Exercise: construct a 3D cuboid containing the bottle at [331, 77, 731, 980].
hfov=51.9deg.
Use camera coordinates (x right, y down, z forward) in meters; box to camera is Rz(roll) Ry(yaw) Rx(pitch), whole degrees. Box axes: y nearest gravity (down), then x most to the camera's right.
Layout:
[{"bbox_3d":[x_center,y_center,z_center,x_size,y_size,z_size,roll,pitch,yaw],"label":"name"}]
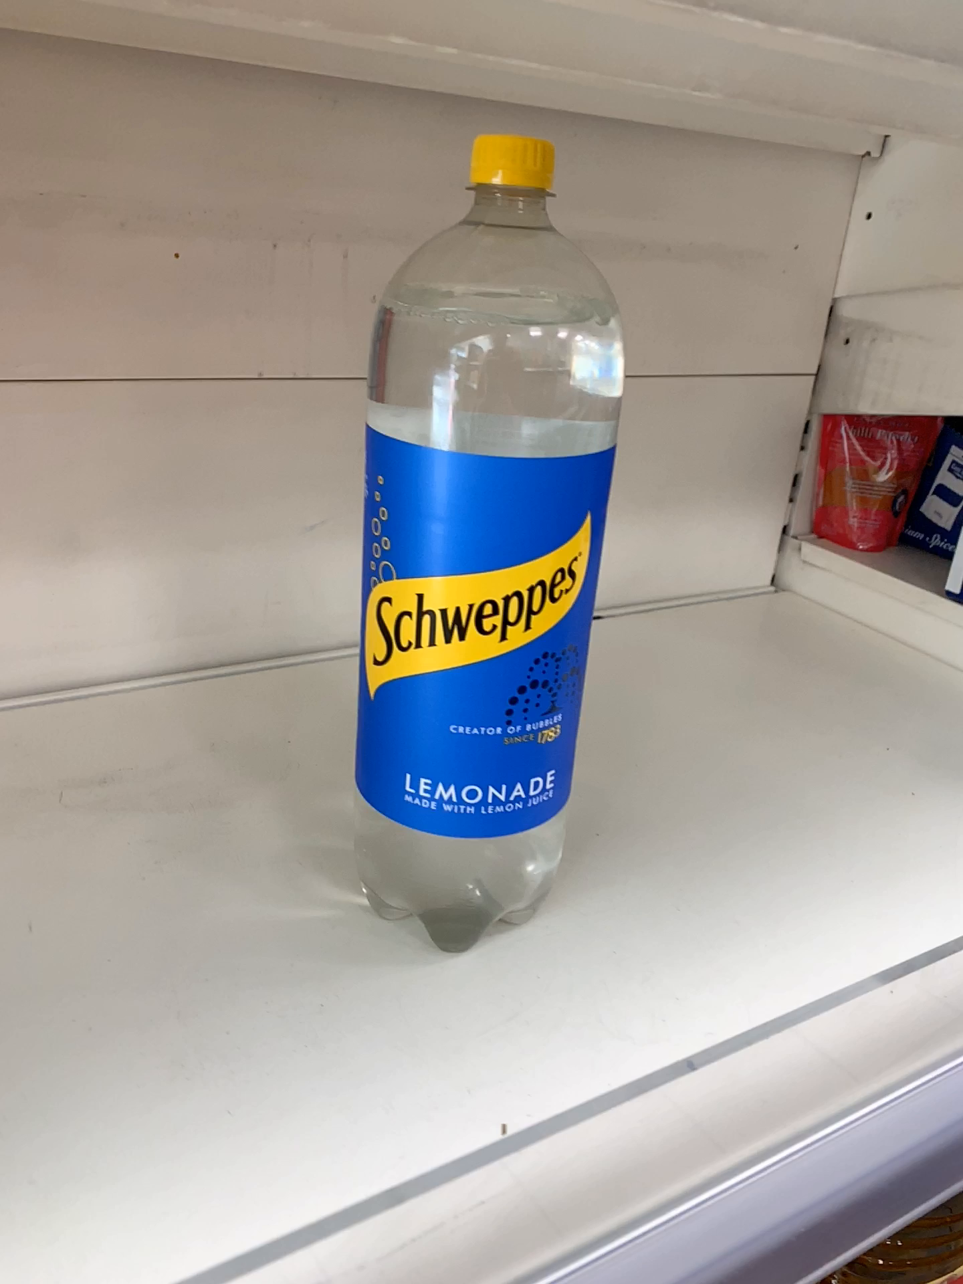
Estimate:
[{"bbox_3d":[0.006,-0.034,0.406,0.110,0.327,0.111,4,23,-2],"label":"bottle"}]
